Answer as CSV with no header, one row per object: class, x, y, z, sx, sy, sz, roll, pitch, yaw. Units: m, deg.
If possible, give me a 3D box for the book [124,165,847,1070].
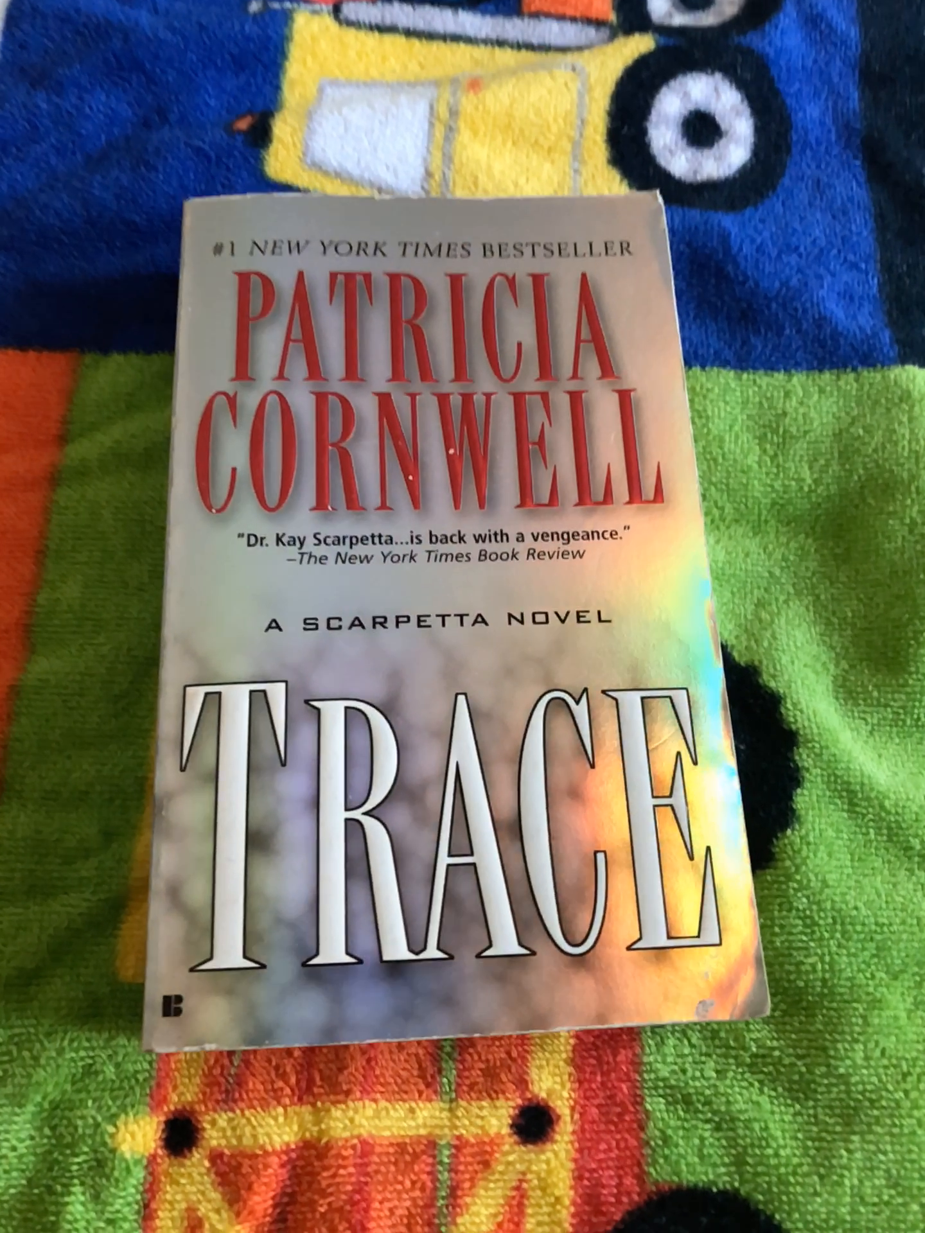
book,0.000,-0.007,0.219,0.120,0.040,0.180,-1,70,-6
